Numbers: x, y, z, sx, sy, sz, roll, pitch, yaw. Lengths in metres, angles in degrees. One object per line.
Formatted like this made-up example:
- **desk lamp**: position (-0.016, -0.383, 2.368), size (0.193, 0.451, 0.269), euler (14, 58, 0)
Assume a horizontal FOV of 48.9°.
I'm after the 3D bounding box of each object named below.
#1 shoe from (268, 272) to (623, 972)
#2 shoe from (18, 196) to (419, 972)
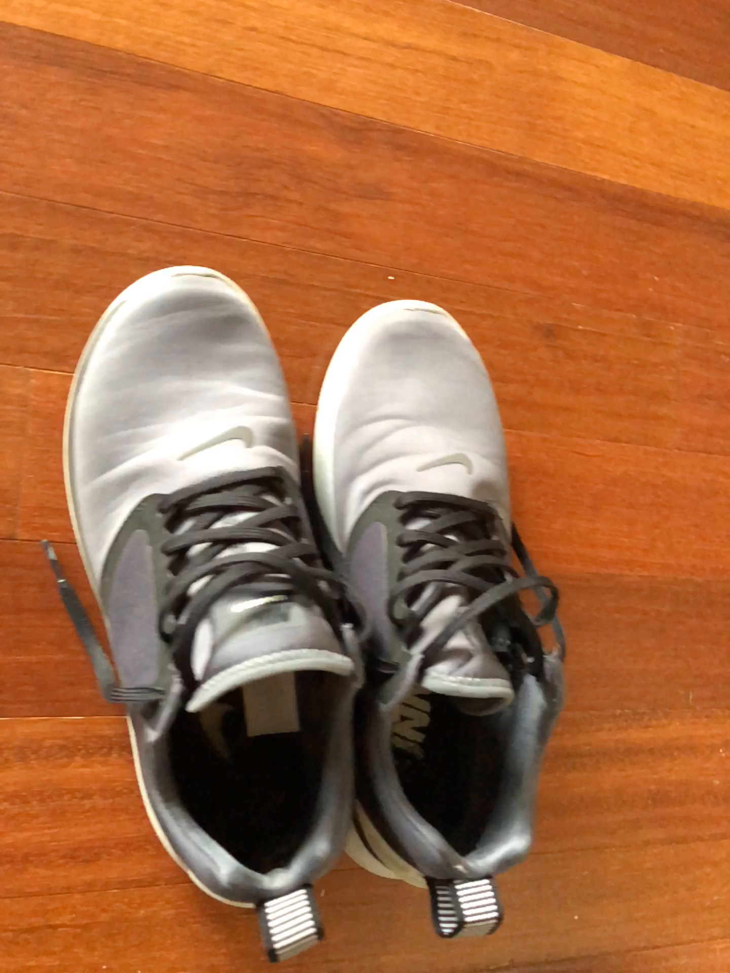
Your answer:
- **shoe**: position (0.029, 0.049, 0.341), size (0.110, 0.100, 0.240), euler (3, 87, -20)
- **shoe**: position (-0.060, 0.030, 0.306), size (0.110, 0.100, 0.240), euler (-5, 89, -20)
